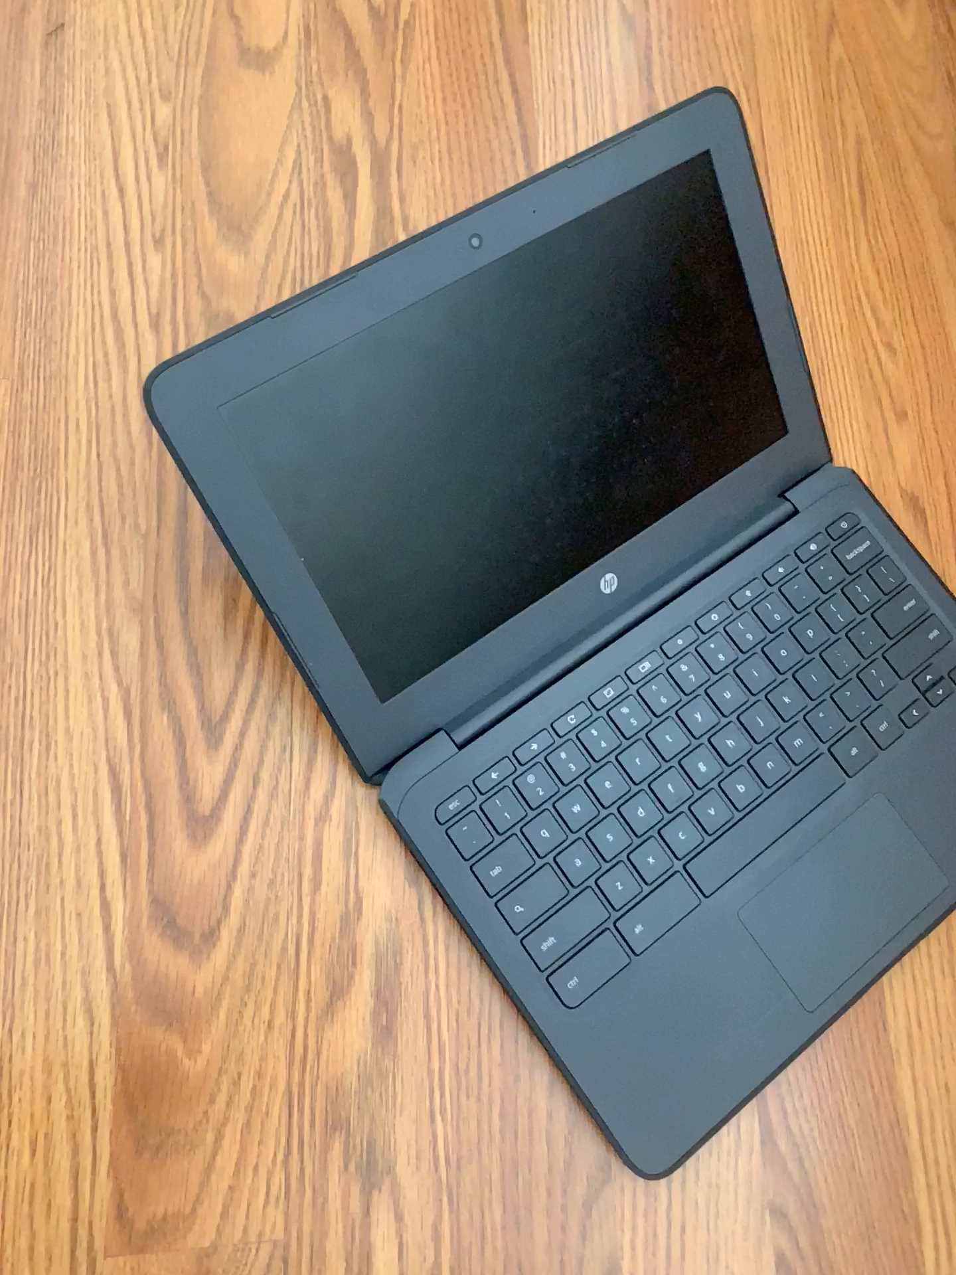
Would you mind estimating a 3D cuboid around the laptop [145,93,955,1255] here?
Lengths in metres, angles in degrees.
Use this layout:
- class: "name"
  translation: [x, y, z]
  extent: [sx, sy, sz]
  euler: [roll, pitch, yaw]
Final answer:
- class: "laptop"
  translation: [0.094, -0.010, 0.433]
  extent: [0.299, 0.110, 0.360]
  euler: [-34, 82, -17]
